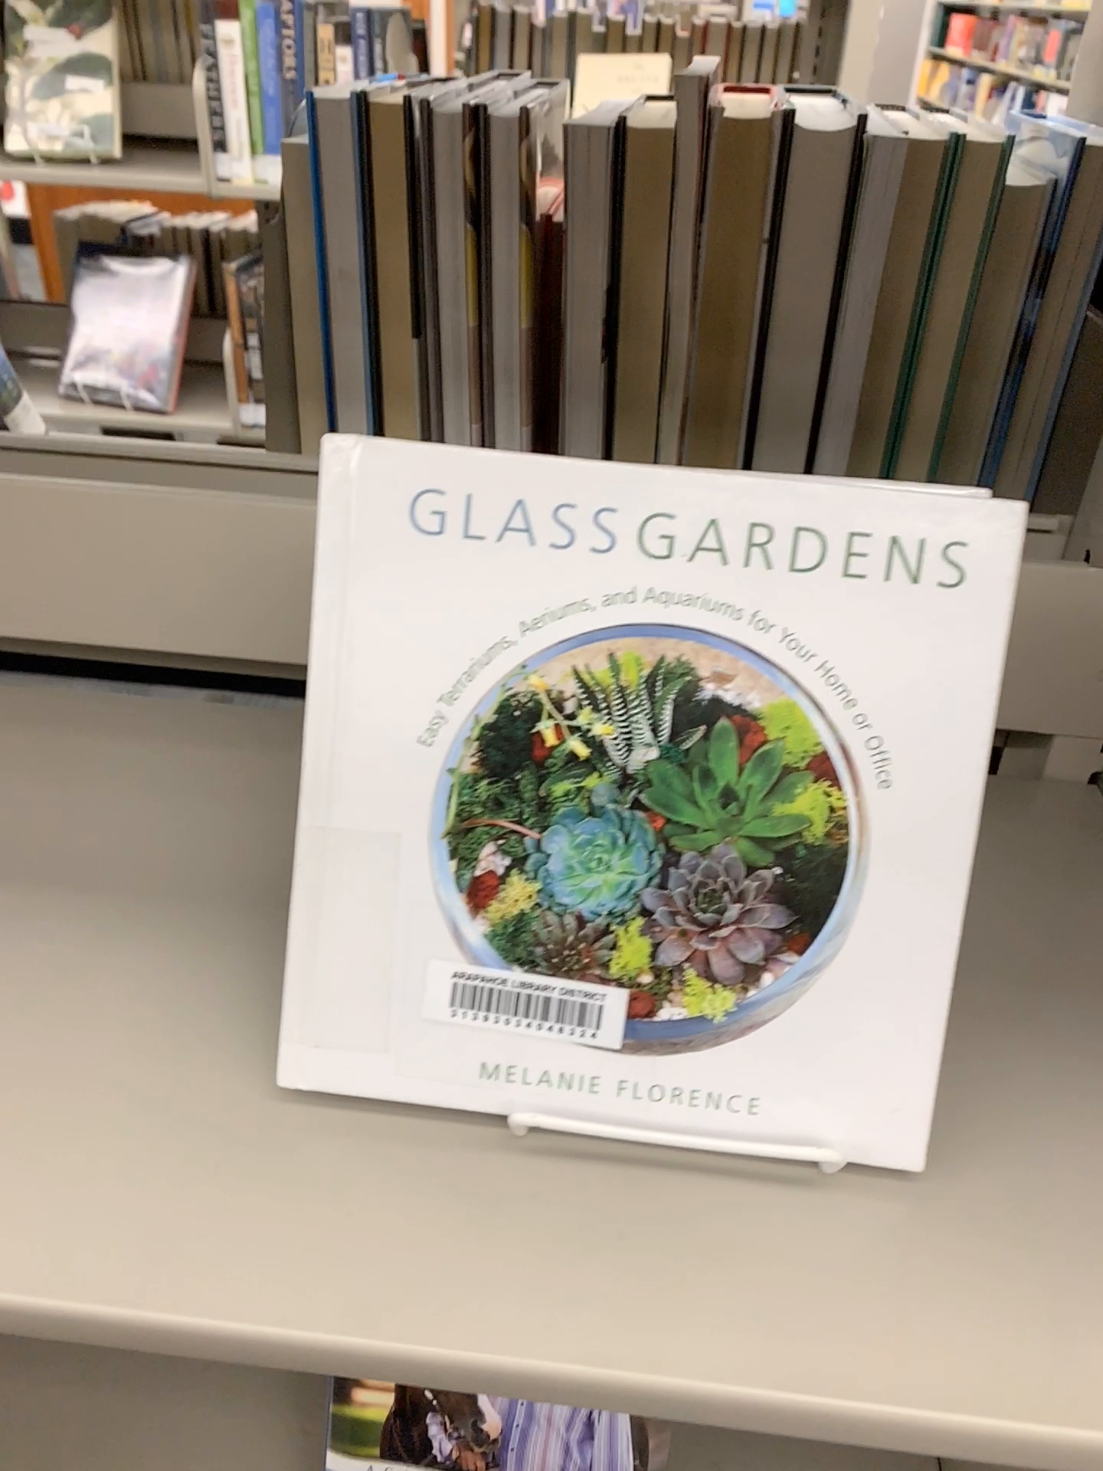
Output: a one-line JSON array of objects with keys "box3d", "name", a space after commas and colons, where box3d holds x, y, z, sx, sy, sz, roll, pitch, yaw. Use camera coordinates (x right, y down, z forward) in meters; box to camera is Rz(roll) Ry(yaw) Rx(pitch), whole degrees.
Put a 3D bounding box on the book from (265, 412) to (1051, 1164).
[{"box3d": [0.021, 0.013, 0.300, 0.180, 0.174, 0.030, 6, 9, 4], "name": "book"}]
